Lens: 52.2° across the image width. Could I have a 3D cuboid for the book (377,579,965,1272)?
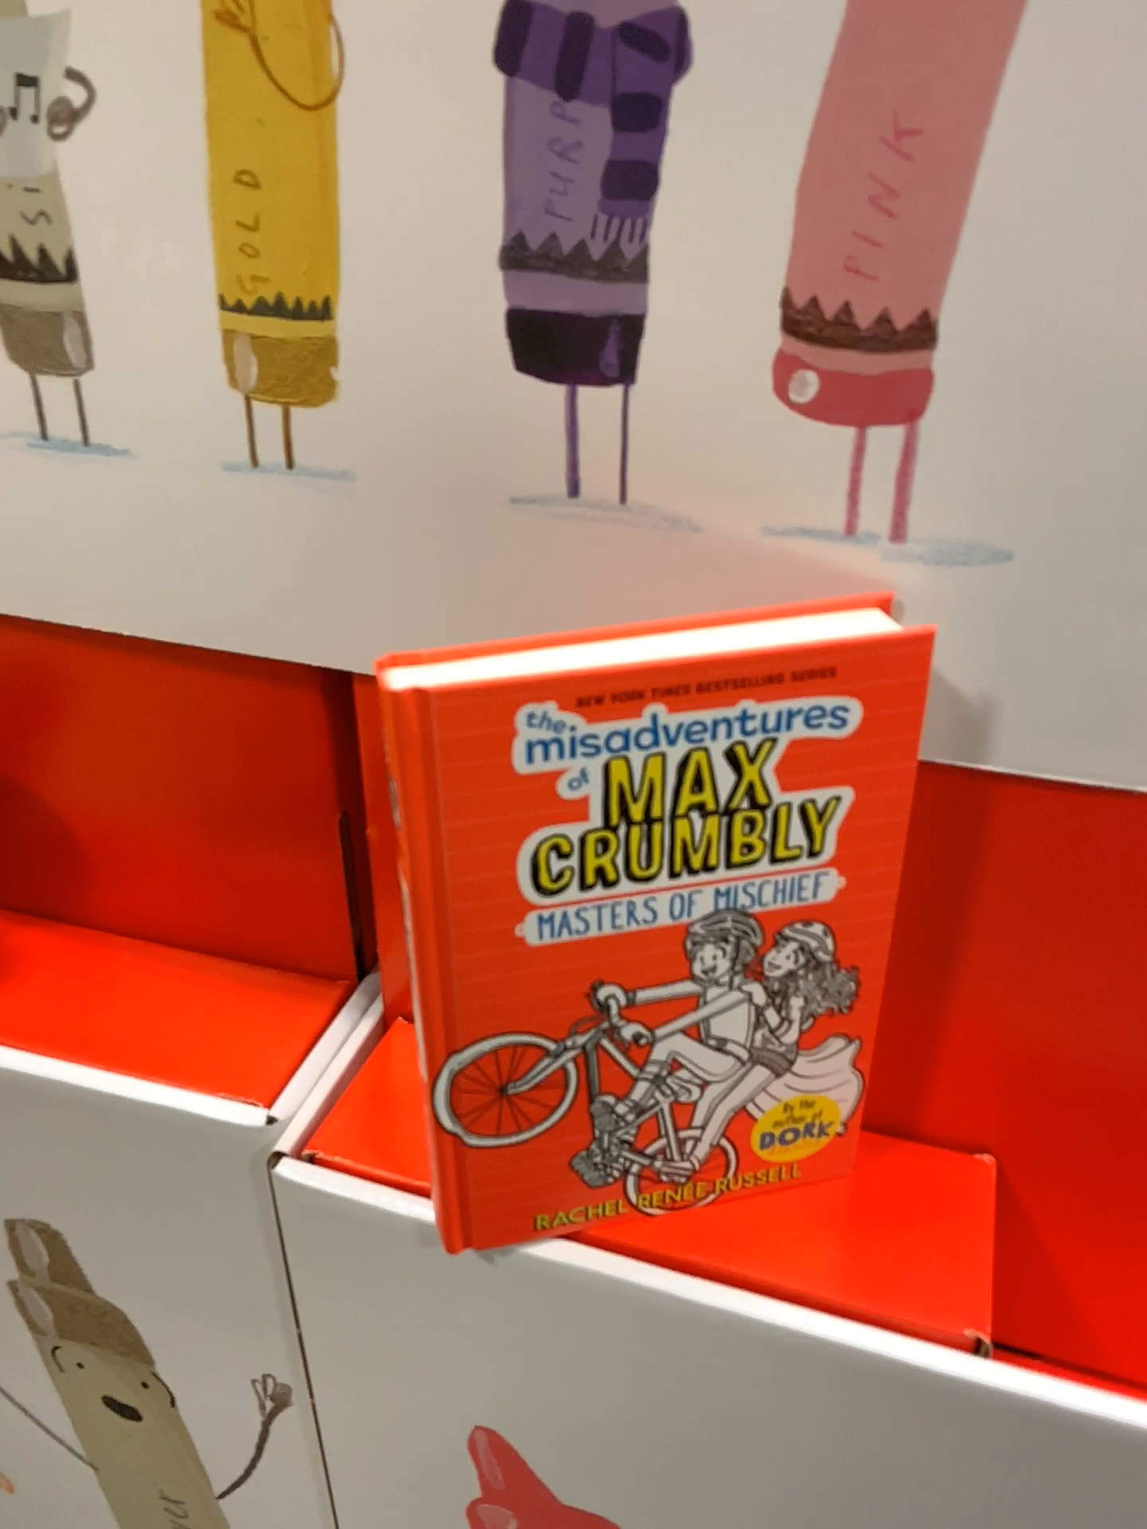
[{"bbox_3d":[0.024,0.053,0.339,0.142,0.201,0.031,-8,33,-15],"label":"book"}]
